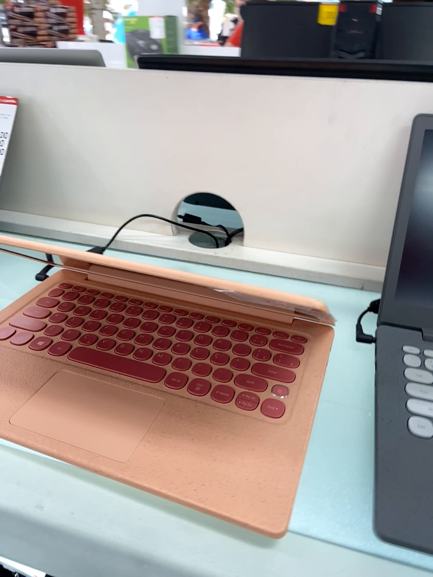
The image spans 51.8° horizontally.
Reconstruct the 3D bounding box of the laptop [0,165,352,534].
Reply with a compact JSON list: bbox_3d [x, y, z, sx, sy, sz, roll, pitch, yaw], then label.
[{"bbox_3d":[-0.077,0.008,0.363,0.323,0.129,0.212,11,32,18],"label":"laptop"}]
